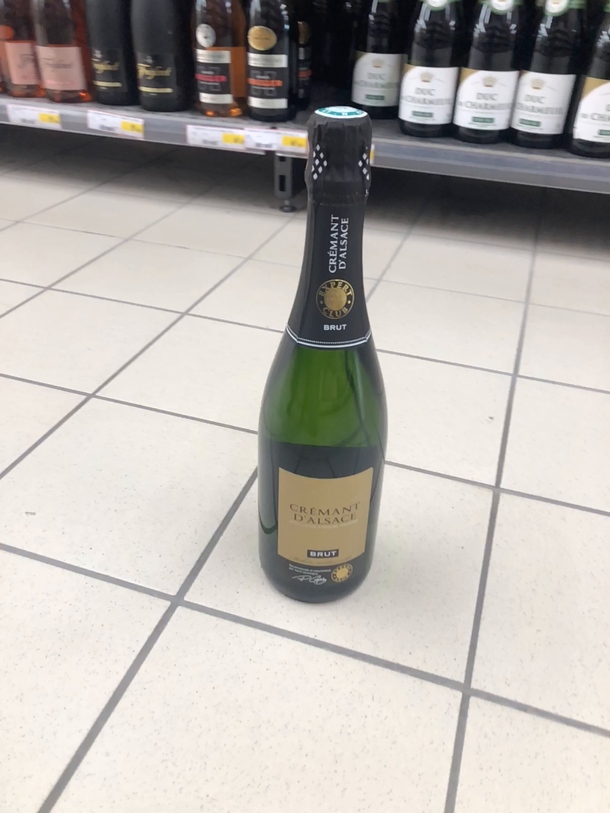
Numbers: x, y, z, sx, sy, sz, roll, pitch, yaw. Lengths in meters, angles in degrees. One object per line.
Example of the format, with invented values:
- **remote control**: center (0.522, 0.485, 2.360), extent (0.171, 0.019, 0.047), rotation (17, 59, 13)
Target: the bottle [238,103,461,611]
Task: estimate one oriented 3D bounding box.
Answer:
- **bottle**: center (0.016, -0.014, 0.421), extent (0.100, 0.308, 0.091), rotation (2, 32, 0)
